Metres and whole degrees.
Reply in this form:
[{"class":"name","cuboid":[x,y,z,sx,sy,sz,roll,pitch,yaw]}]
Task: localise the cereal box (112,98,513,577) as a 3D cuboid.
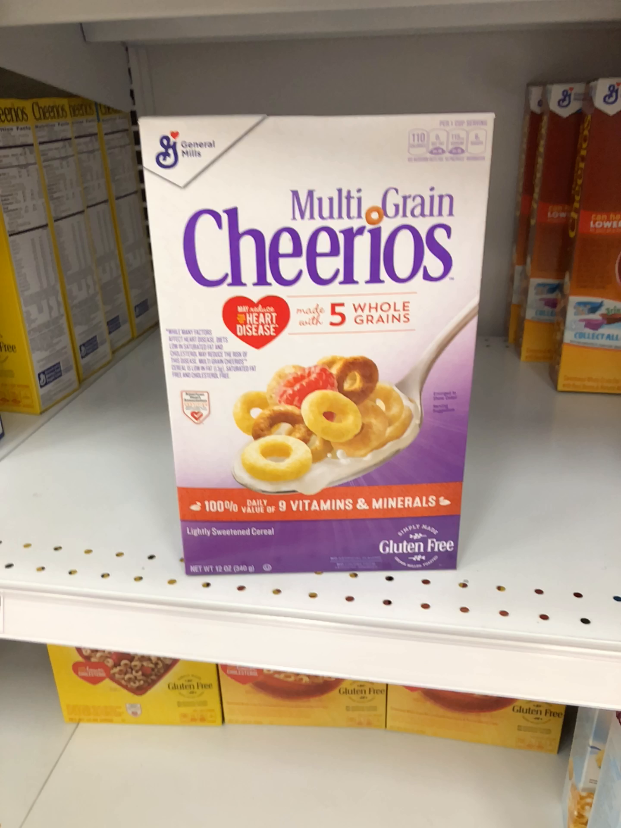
[{"class":"cereal box","cuboid":[0.004,-0.040,0.452,0.210,0.299,0.070,-1,23,0]}]
